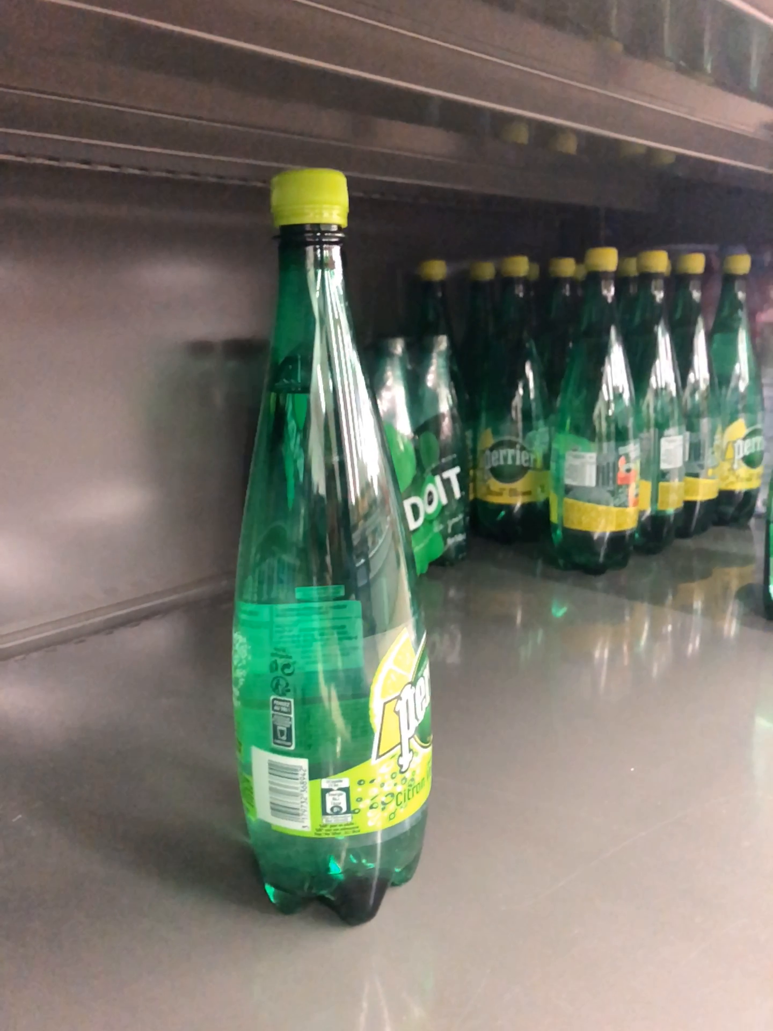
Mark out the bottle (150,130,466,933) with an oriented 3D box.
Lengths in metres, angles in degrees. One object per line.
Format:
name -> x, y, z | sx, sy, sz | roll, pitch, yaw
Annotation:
bottle -> -0.022, 0.008, 0.370 | 0.090, 0.299, 0.100 | 2, 13, 17
